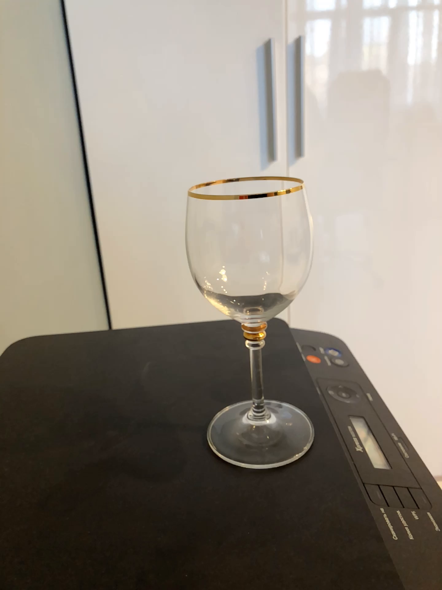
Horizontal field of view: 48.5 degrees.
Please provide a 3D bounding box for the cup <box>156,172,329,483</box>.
[{"bbox_3d":[0.017,0.018,0.325,0.086,0.177,0.087,-5,20,2],"label":"cup"}]
